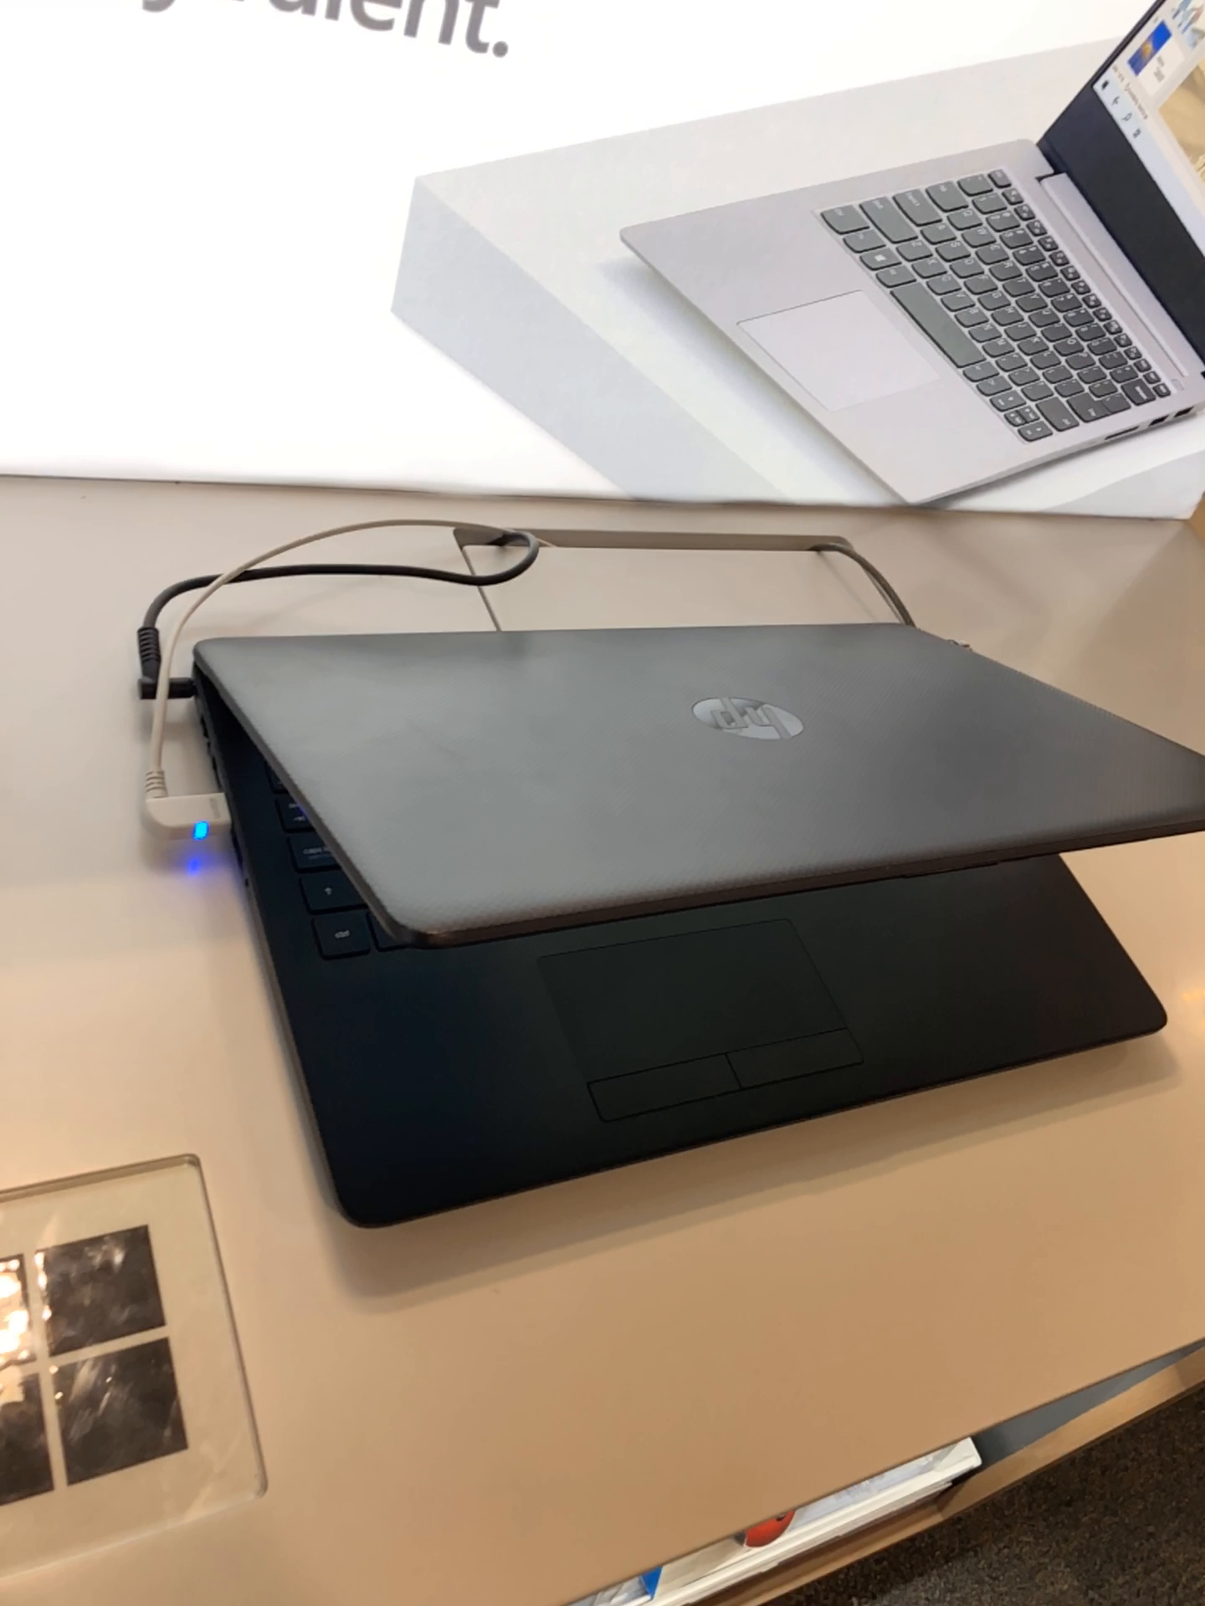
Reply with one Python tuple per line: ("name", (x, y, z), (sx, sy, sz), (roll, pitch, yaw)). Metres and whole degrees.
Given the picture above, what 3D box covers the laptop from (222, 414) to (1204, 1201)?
("laptop", (0.064, -0.020, 0.506), (0.352, 0.107, 0.238), (-5, 53, -28))
